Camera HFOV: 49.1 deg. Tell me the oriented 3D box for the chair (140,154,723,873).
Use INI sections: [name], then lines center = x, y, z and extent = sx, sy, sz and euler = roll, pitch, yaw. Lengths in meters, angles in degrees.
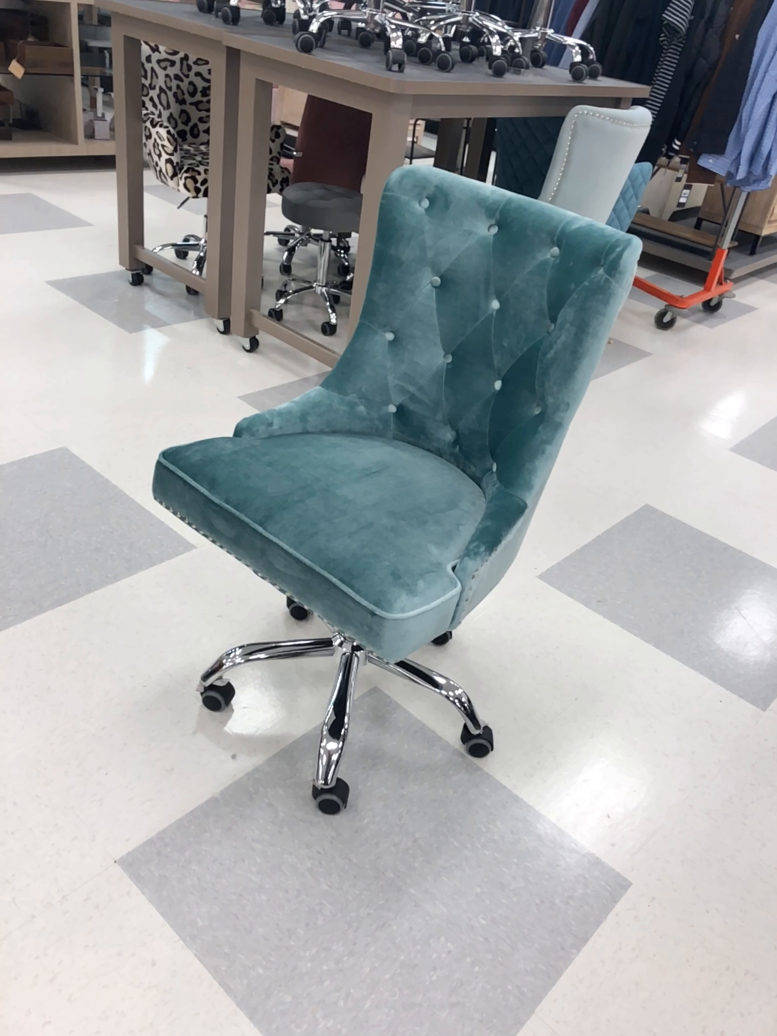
[chair]
center = 0.011, -0.056, 1.468
extent = 0.599, 0.934, 0.607
euler = 33, 39, 33
